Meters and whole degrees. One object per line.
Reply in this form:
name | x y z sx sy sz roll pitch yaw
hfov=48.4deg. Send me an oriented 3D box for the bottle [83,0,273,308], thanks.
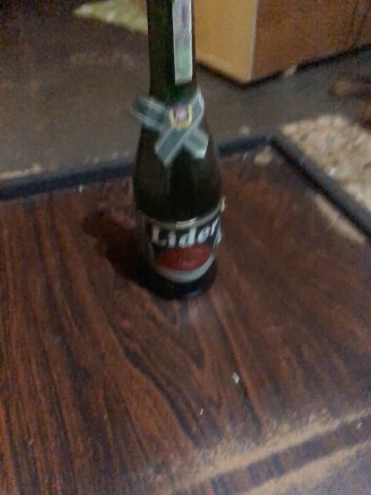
bottle | -0.006 -0.084 0.334 0.090 0.288 0.081 -12 44 -11
